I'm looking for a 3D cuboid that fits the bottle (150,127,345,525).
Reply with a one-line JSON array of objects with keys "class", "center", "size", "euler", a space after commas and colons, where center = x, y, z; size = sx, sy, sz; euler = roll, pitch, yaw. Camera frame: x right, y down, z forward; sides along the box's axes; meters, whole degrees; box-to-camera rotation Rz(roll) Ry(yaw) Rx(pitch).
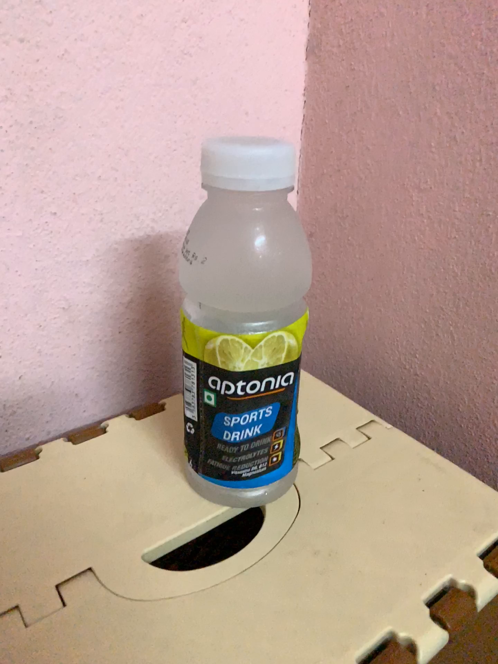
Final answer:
[{"class": "bottle", "center": [-0.006, 0.000, 0.248], "size": [0.070, 0.179, 0.060], "euler": [-3, 26, -9]}]
